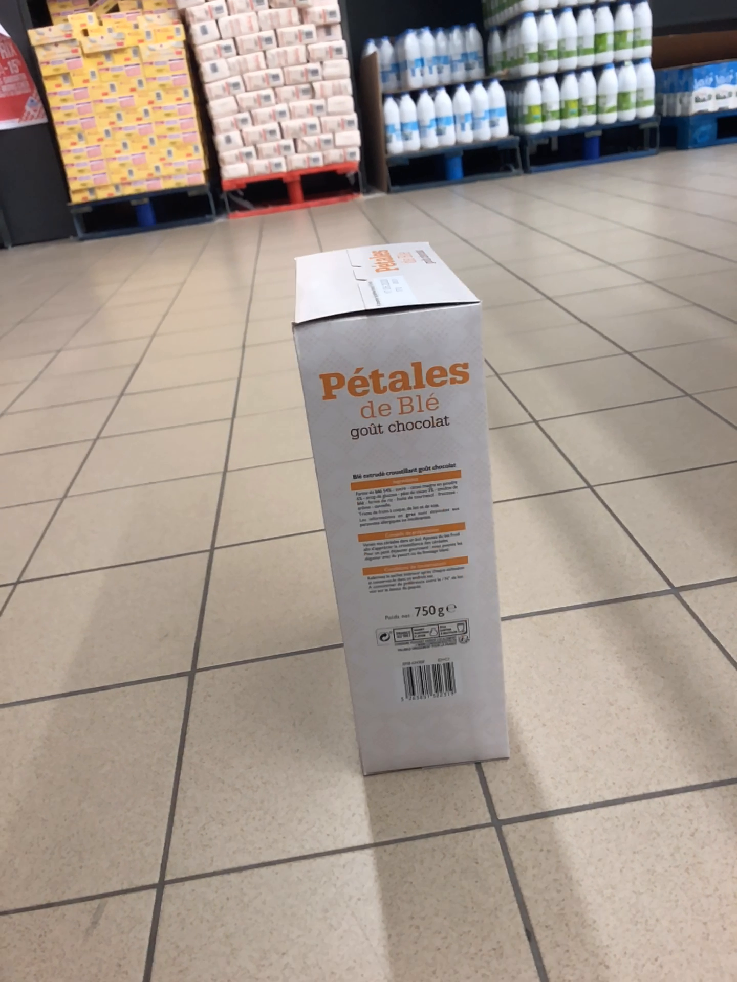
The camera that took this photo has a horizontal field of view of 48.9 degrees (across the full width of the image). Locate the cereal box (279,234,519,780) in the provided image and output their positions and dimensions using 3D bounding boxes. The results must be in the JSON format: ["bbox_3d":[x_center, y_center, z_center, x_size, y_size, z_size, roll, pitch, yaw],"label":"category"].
[{"bbox_3d":[0.019,0.001,0.526,0.100,0.289,0.191,-8,24,-1],"label":"cereal box"}]
